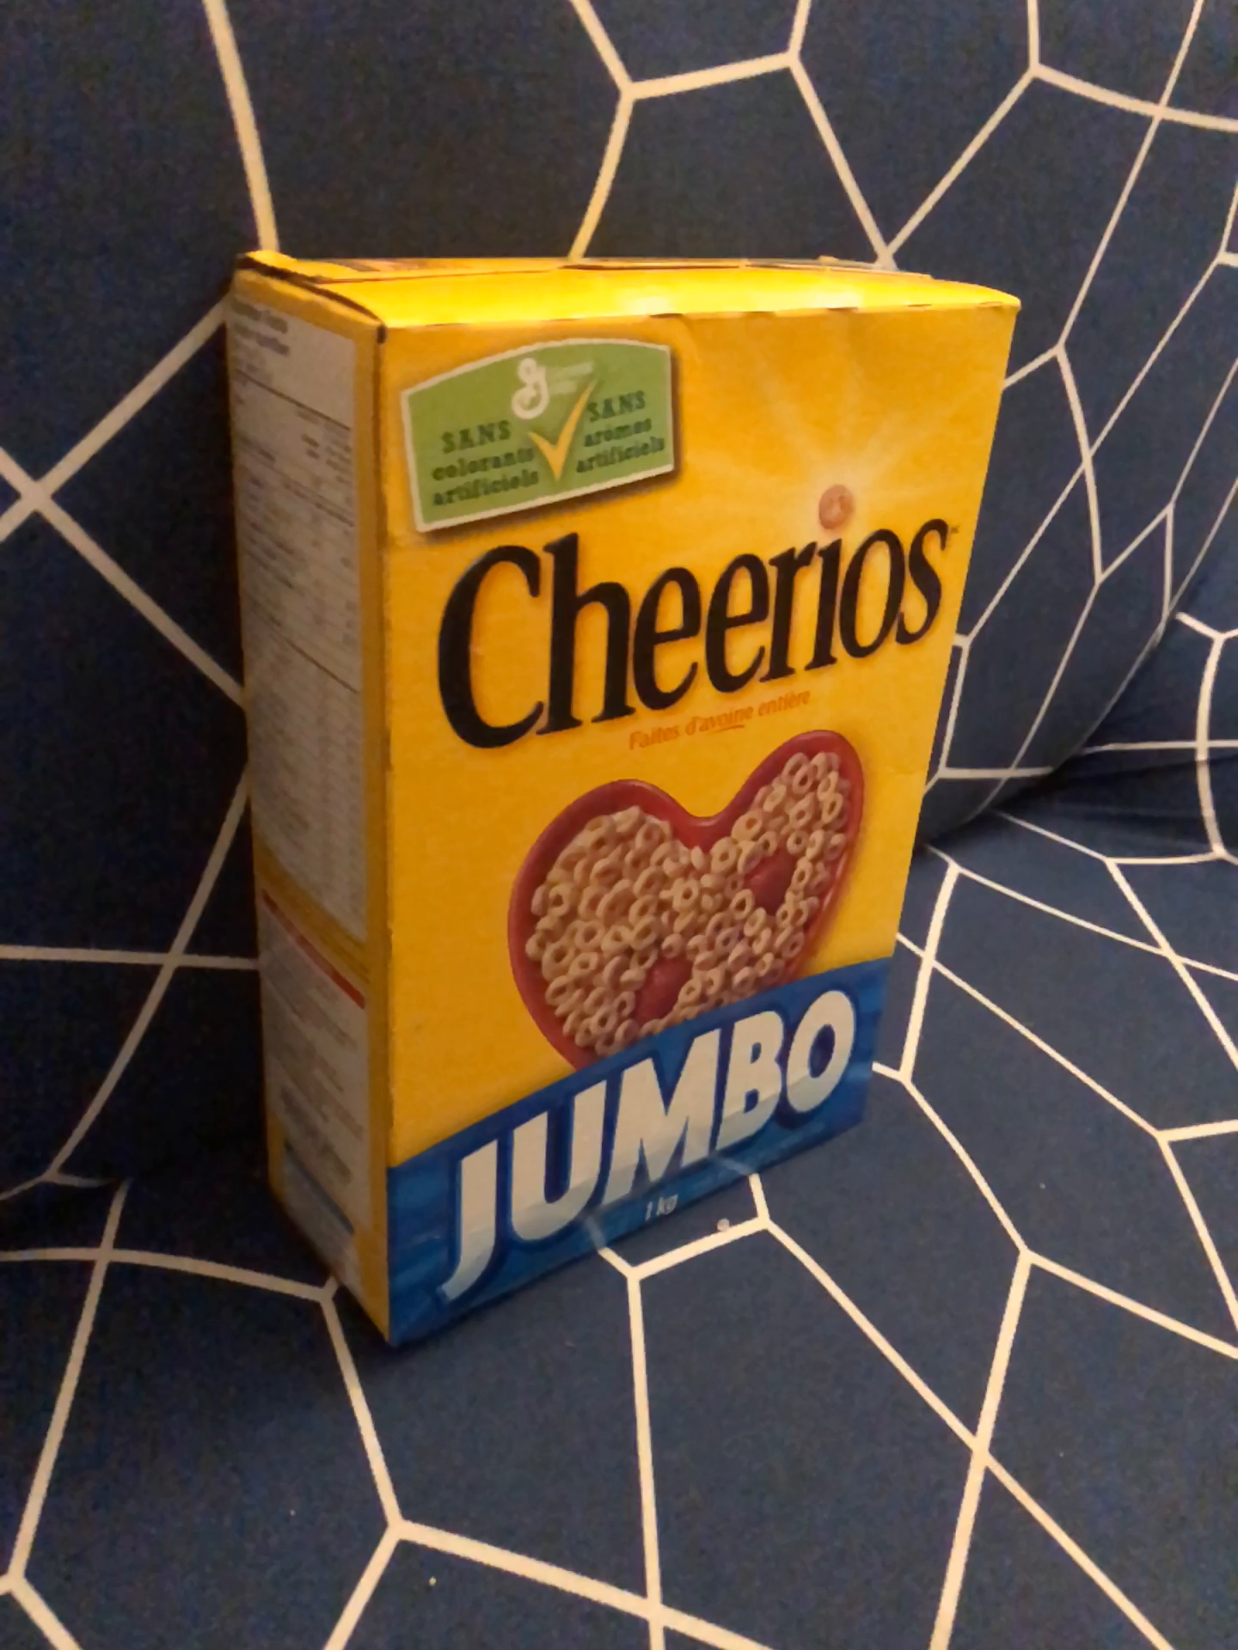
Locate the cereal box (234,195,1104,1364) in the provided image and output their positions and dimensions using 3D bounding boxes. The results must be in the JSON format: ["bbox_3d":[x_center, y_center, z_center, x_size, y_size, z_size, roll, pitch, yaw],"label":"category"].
[{"bbox_3d":[0.012,-0.019,0.399,0.211,0.288,0.080,-16,34,-35],"label":"cereal box"}]
